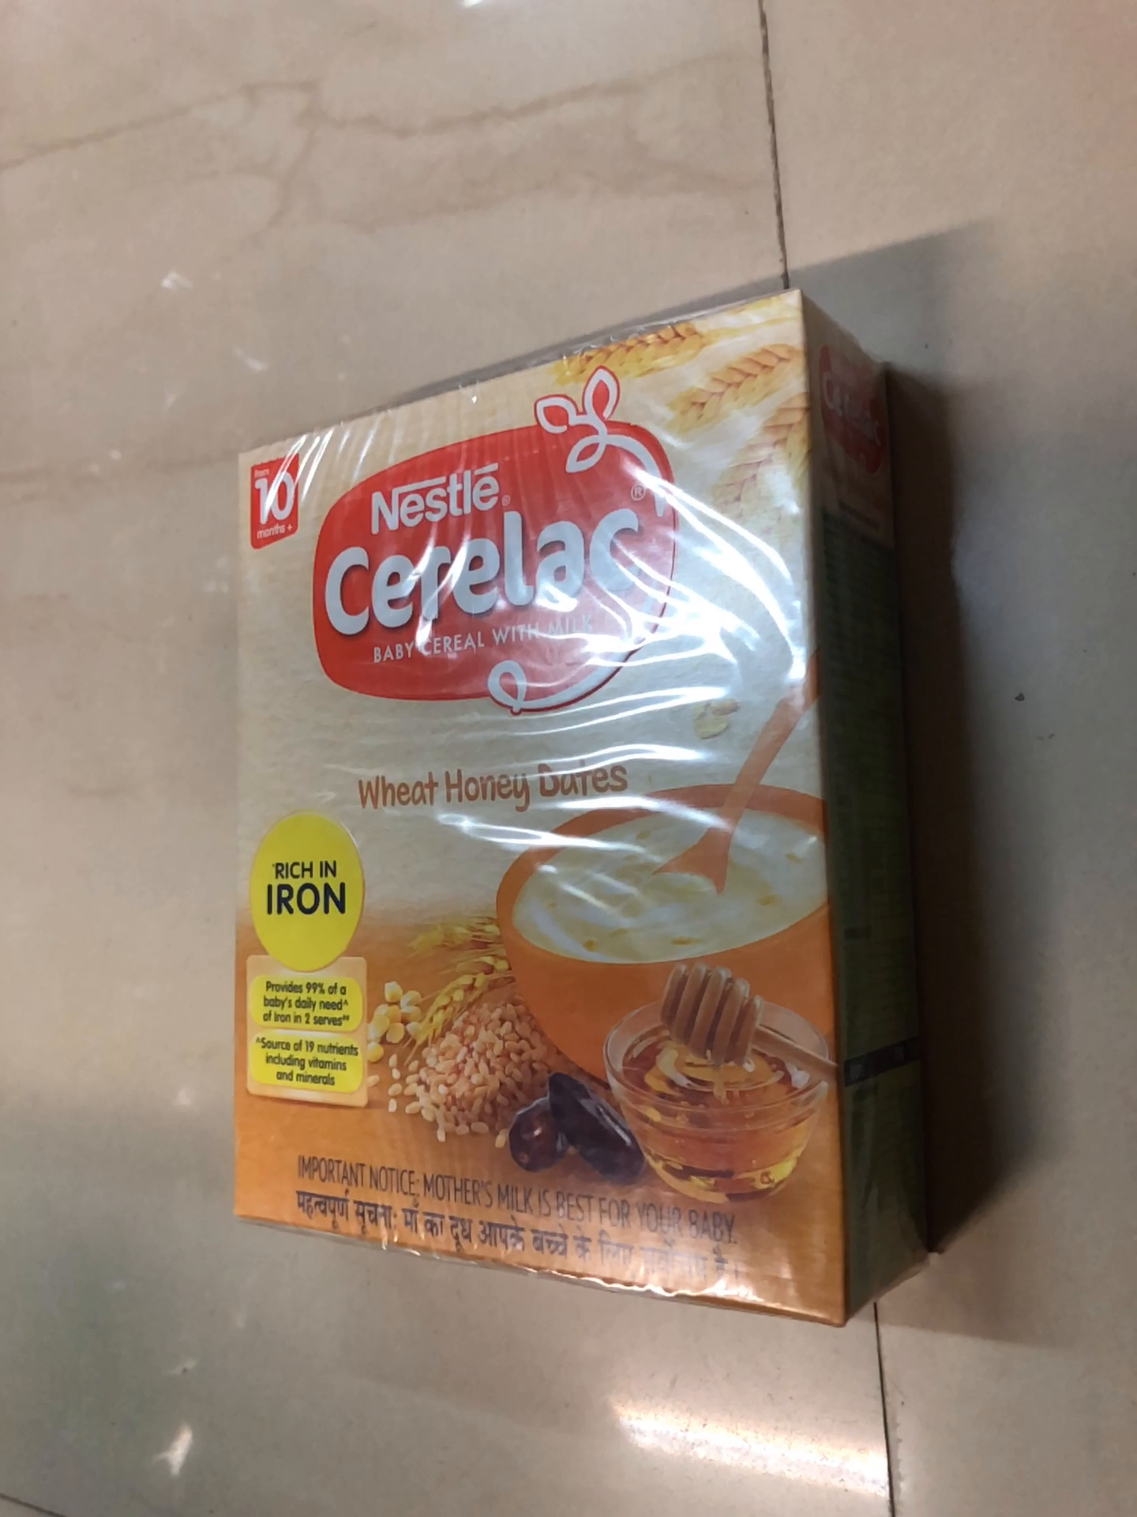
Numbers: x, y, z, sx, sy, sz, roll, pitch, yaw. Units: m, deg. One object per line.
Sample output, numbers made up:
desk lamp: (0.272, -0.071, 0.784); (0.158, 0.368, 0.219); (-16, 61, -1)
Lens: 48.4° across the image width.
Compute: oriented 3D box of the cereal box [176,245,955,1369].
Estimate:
cereal box: (-0.007, 0.011, 0.282); (0.160, 0.060, 0.190); (-5, 82, 33)
